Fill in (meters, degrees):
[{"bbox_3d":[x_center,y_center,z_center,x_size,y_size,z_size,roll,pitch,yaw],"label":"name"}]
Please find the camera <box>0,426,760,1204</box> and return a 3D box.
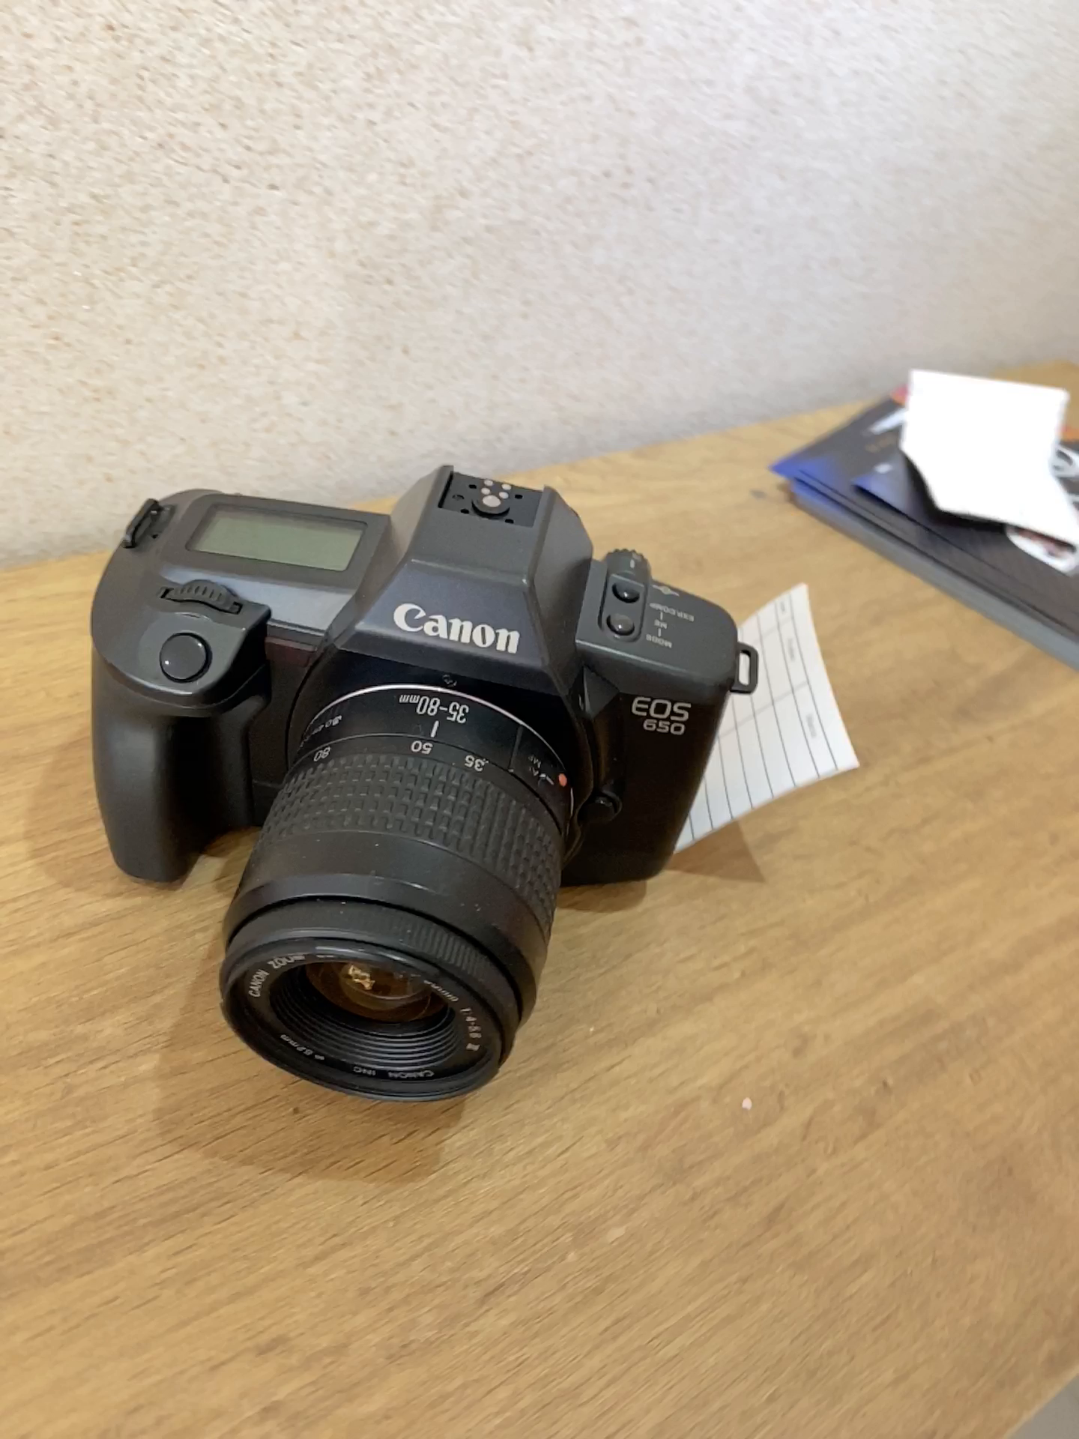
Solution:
[{"bbox_3d":[-0.030,0.016,0.276,0.140,0.099,0.141,9,41,0],"label":"camera"}]
